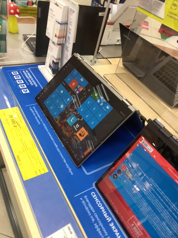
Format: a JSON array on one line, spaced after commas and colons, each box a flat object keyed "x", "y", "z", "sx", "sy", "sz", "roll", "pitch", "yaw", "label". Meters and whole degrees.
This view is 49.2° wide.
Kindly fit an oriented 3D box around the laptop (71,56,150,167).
[{"x": 0.070, "y": -0.018, "z": 0.758, "sx": 0.210, "sy": 0.150, "sz": 0.337, "roll": 19, "pitch": 25, "yaw": -48, "label": "laptop"}]
